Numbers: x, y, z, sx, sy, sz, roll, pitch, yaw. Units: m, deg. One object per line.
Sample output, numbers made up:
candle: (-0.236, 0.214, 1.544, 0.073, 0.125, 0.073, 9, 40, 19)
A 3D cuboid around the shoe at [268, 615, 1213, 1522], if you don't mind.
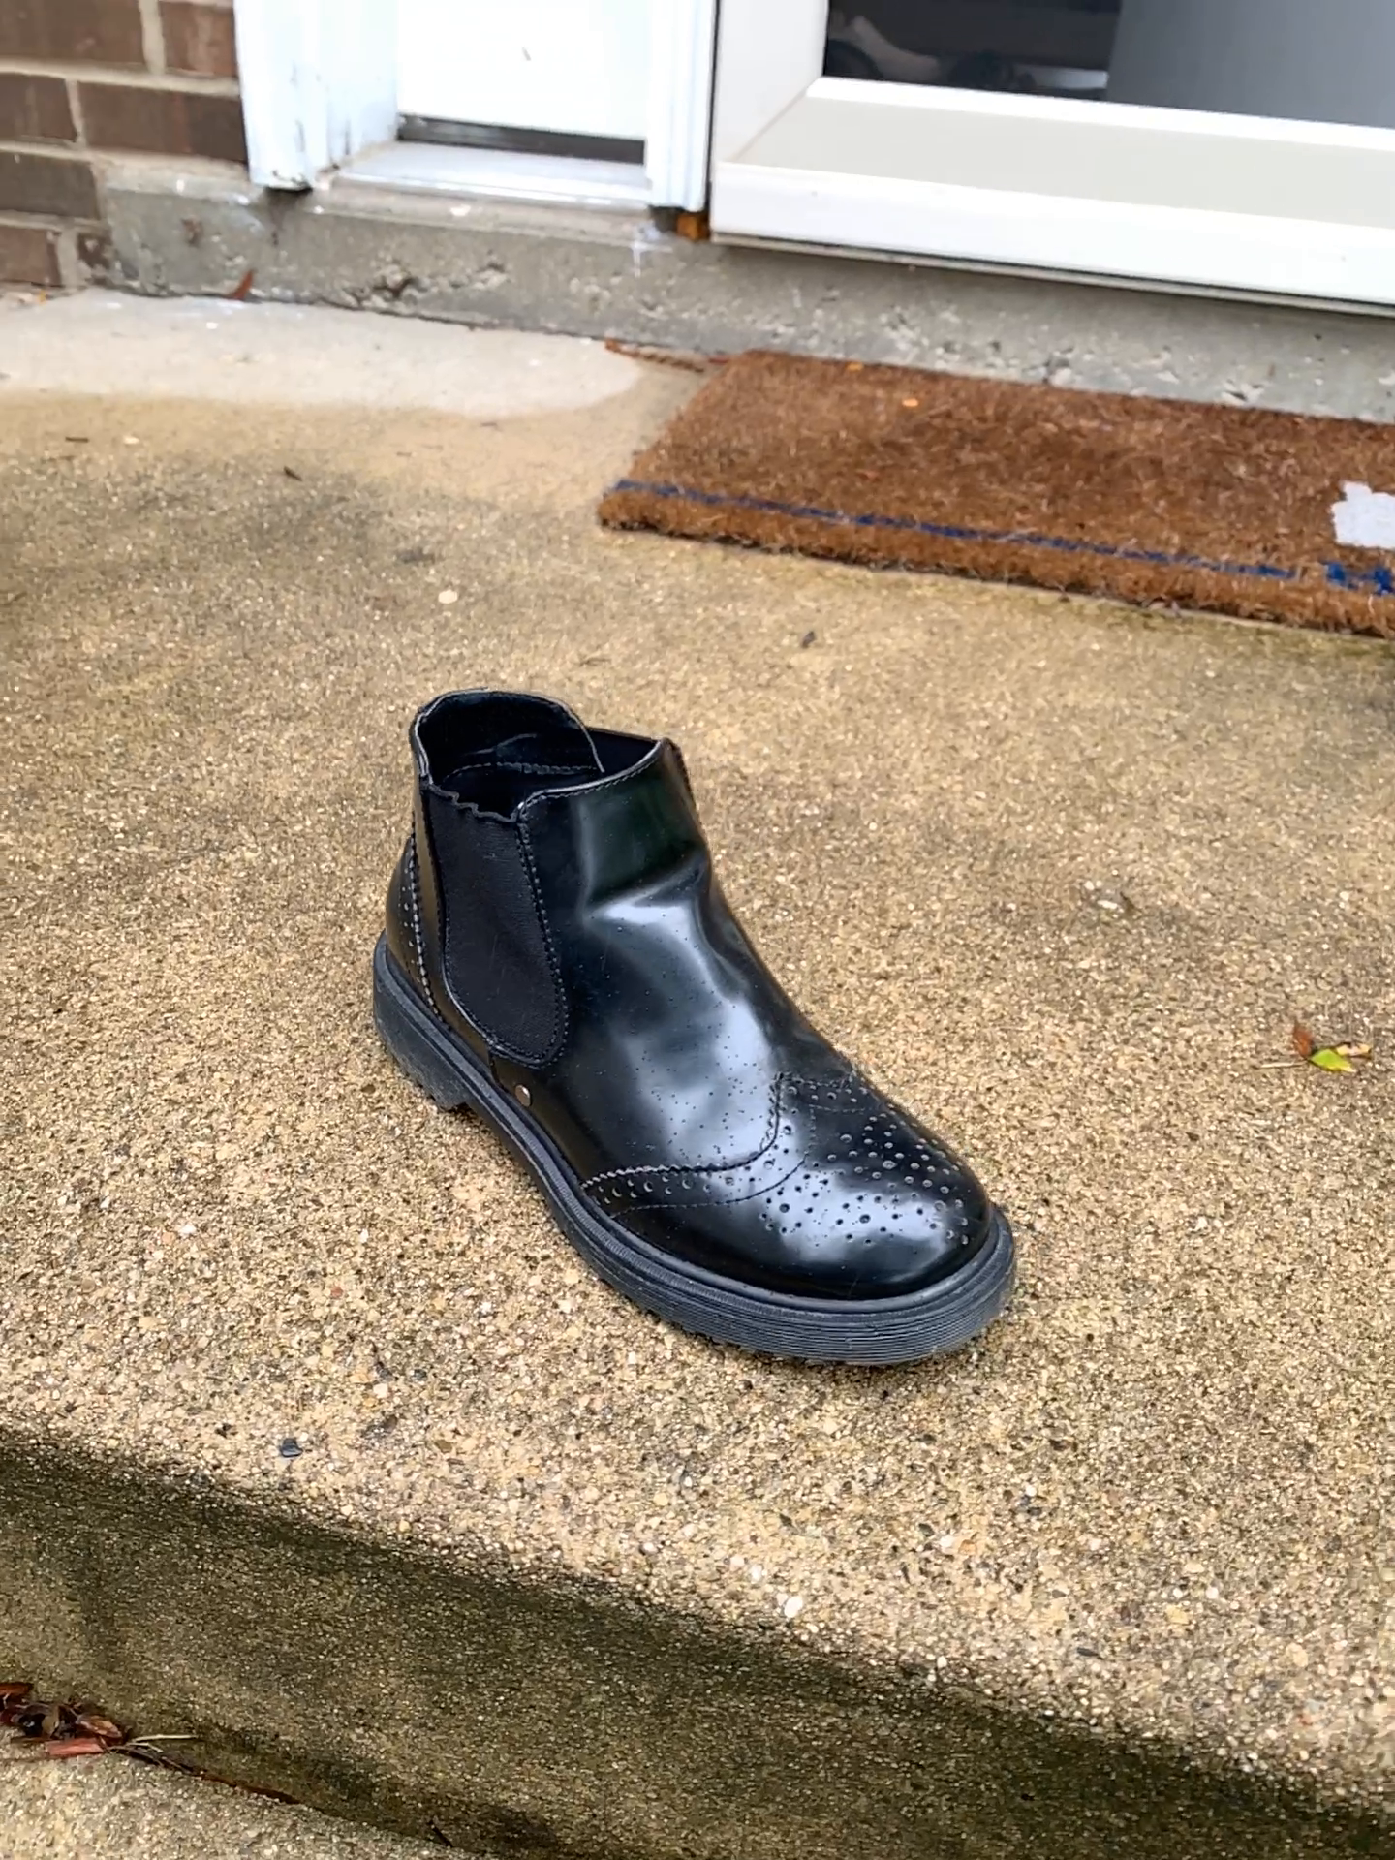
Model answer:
shoe: (-0.003, 0.024, 0.465, 0.268, 0.148, 0.118, 30, 42, 32)
